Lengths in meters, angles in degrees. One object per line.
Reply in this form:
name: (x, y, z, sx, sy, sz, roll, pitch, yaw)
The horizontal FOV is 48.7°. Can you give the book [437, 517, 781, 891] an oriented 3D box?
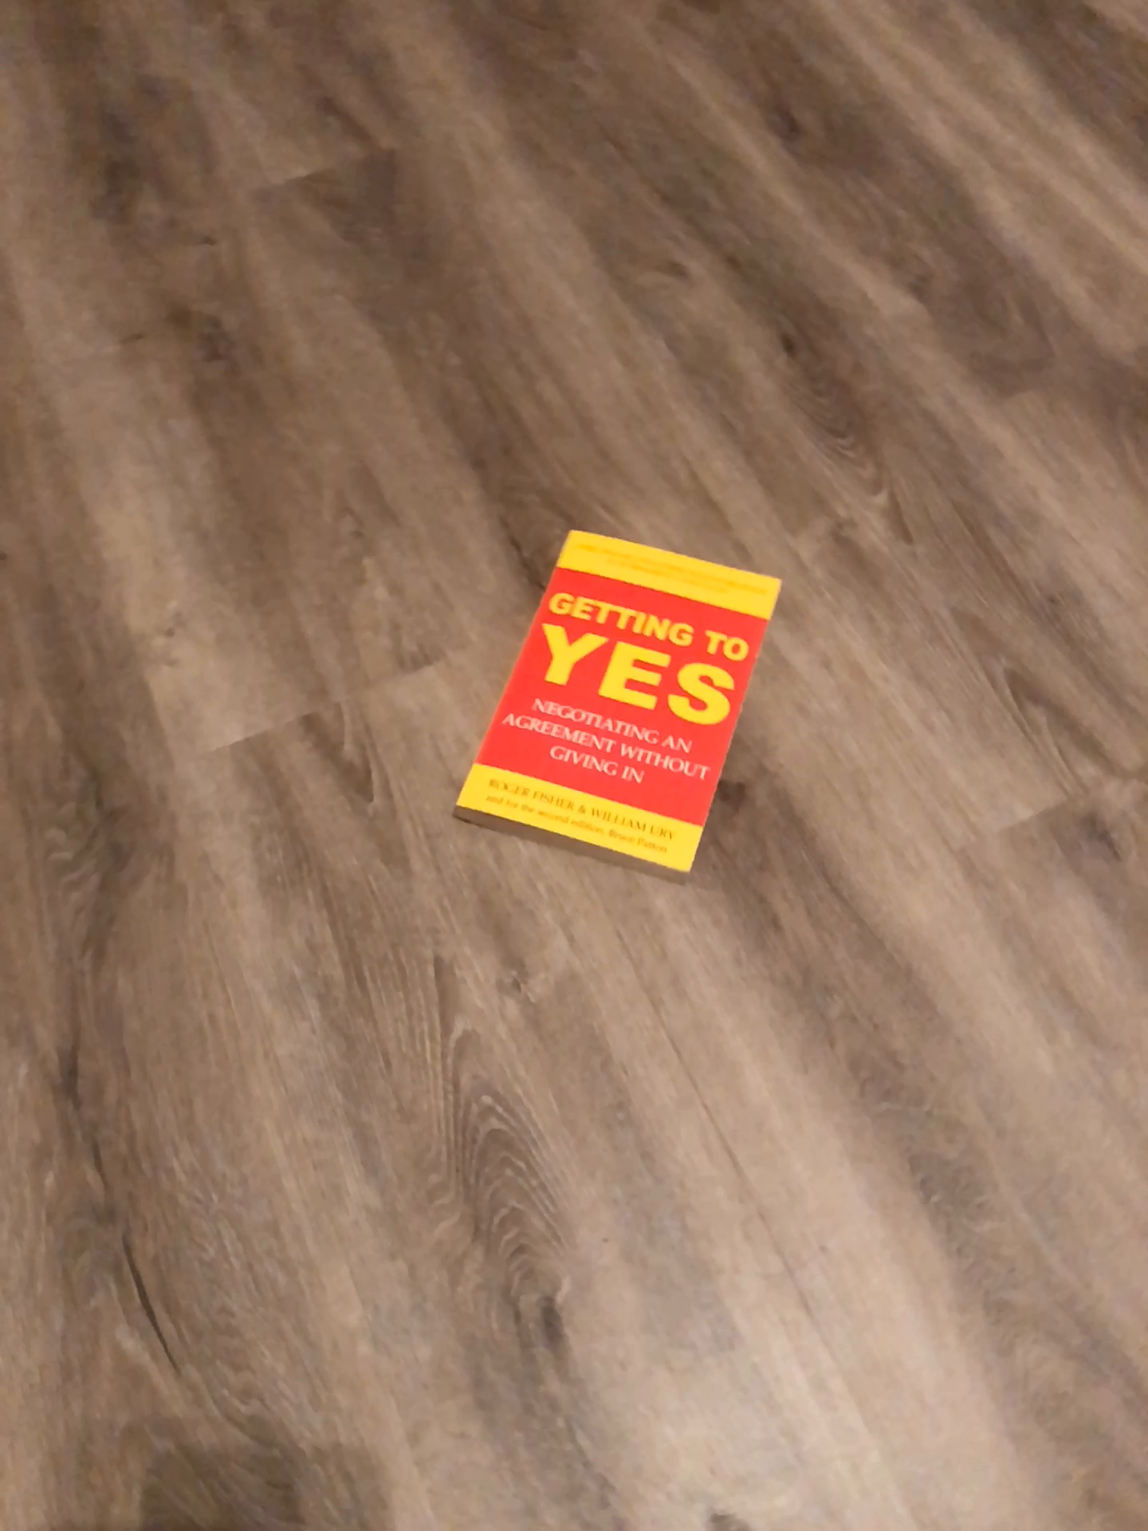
book: (0.023, -0.039, 0.680, 0.130, 0.026, 0.190, 15, 62, 11)
